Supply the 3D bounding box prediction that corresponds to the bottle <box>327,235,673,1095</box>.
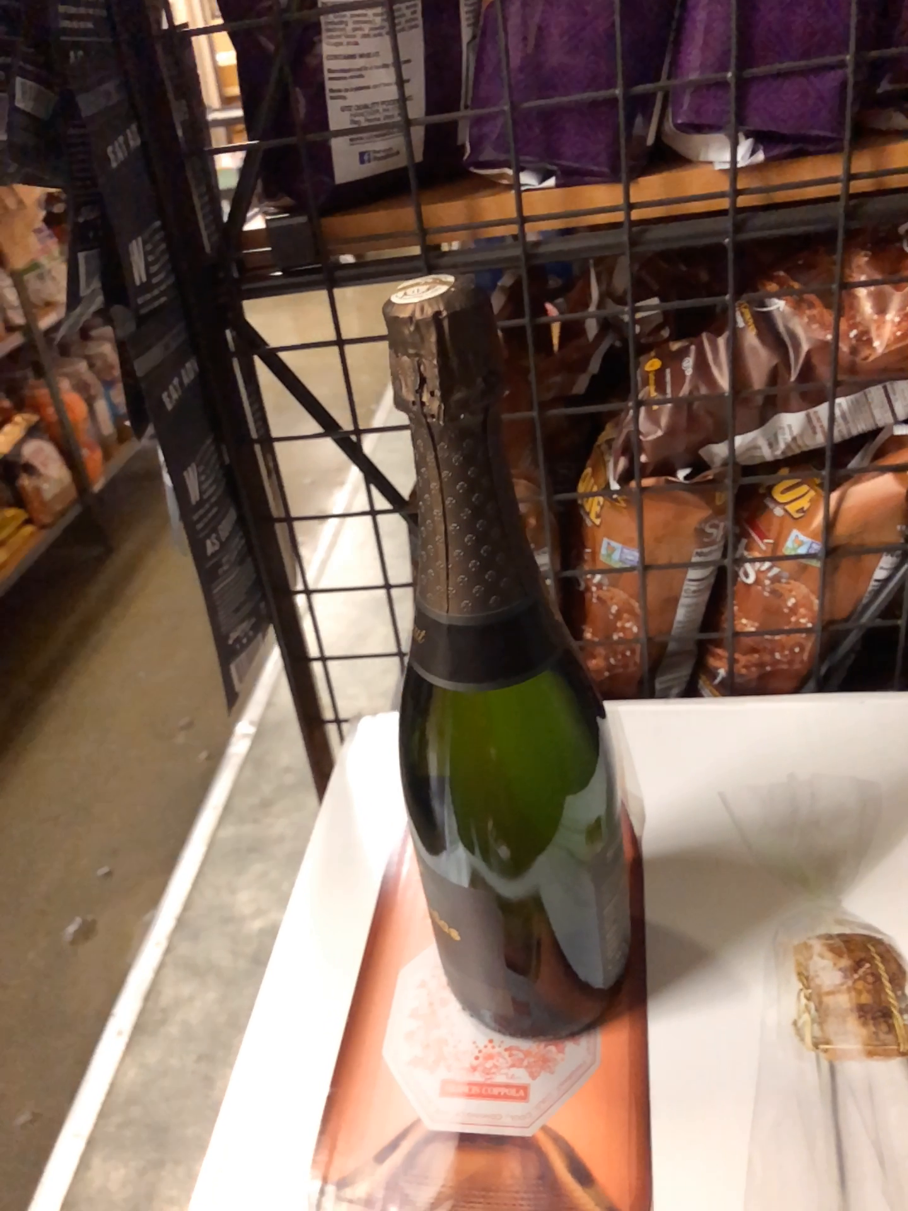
[{"bbox_3d":[0.030,0.042,0.384,0.084,0.326,0.090,-6,30,4],"label":"bottle"}]
